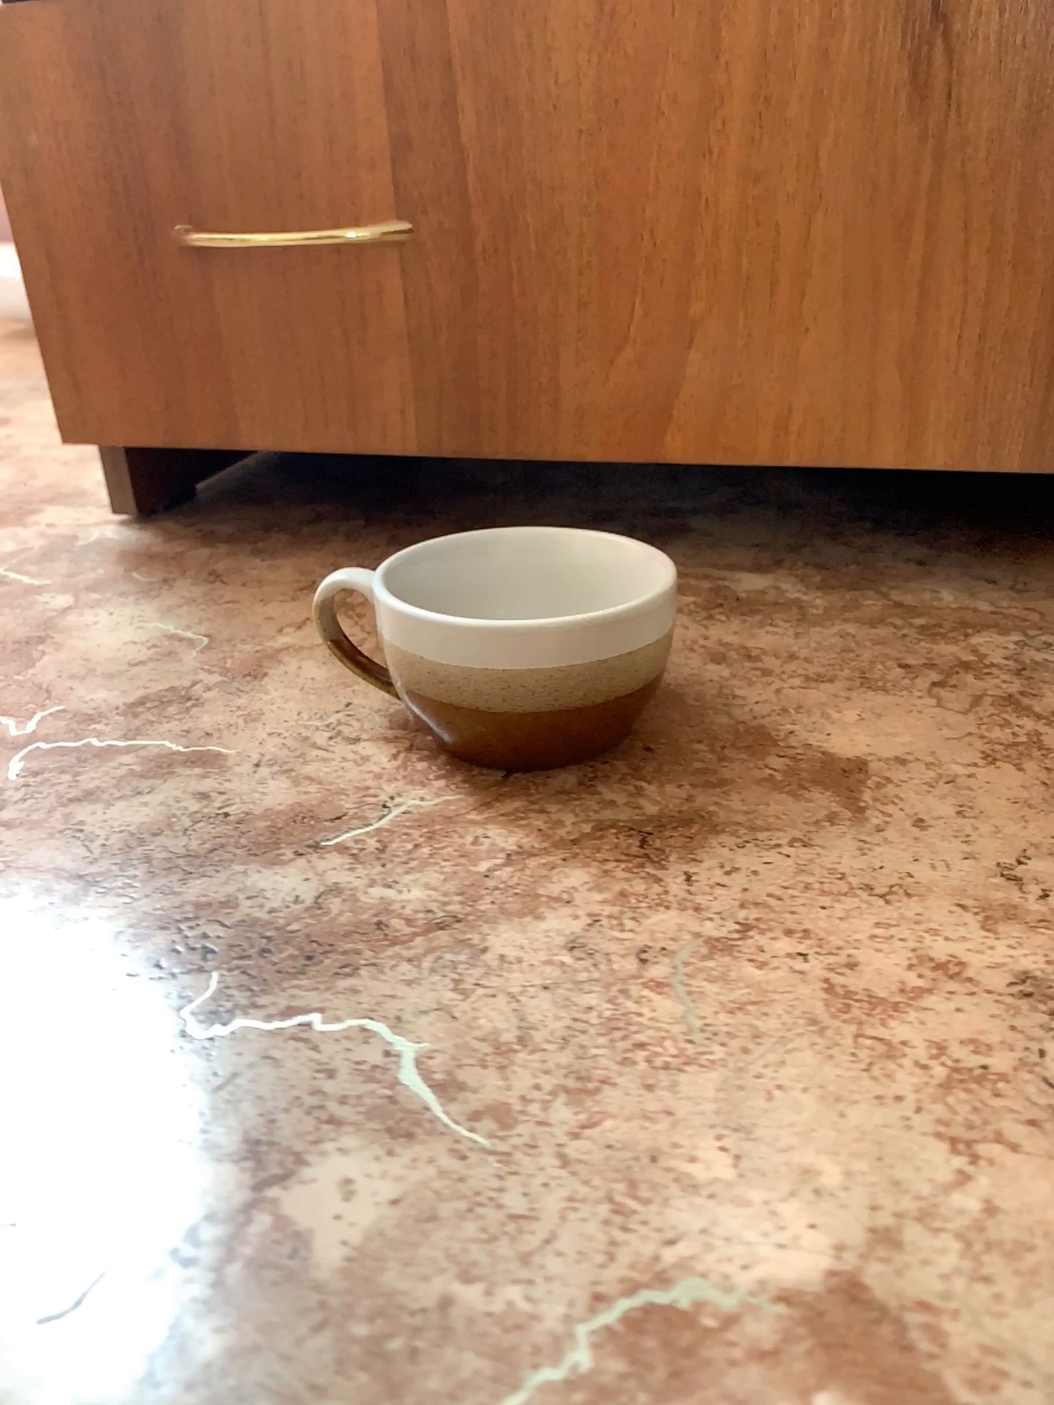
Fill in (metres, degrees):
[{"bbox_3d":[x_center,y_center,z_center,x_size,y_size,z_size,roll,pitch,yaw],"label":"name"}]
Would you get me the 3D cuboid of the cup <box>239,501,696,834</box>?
[{"bbox_3d":[-0.014,-0.018,0.352,0.115,0.059,0.091,9,29,19],"label":"cup"}]
